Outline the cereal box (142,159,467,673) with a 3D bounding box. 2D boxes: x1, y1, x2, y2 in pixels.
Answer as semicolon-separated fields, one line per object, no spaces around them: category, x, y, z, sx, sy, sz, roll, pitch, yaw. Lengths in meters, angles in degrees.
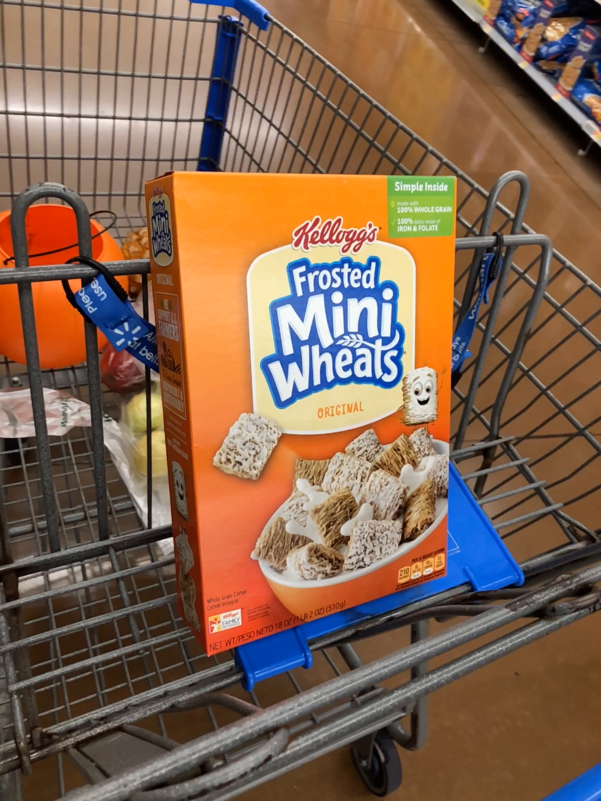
cereal box;0.010;0.002;0.439;0.190;0.290;0.070;-9;14;-29
